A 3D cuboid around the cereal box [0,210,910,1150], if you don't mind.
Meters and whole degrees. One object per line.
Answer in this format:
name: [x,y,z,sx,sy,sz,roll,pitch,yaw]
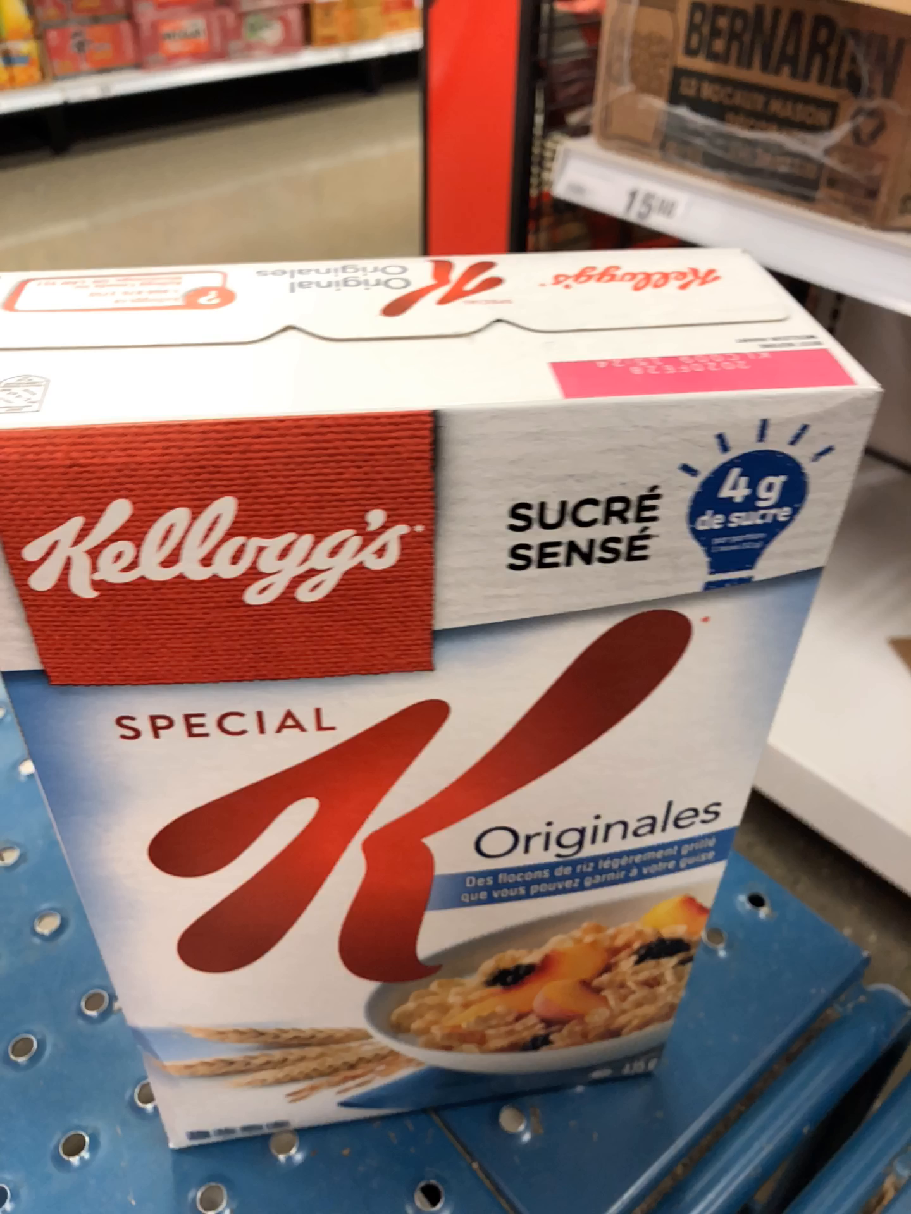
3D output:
cereal box: [-0.011,0.044,0.320,0.210,0.299,0.080,-5,38,-8]
